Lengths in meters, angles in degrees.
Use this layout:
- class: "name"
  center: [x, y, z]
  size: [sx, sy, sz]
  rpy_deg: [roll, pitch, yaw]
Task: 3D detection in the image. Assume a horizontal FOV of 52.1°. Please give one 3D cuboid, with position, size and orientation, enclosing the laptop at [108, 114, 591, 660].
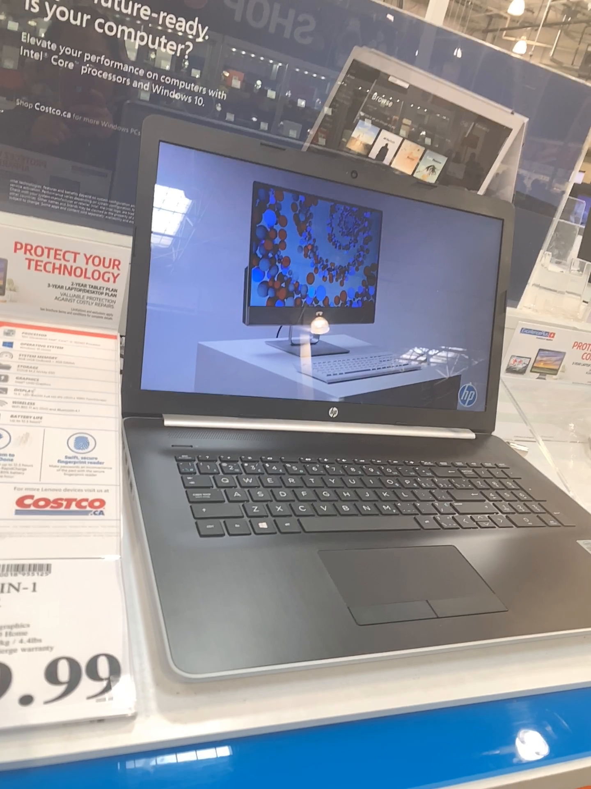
- class: "laptop"
  center: [0.083, -0.044, 0.487]
  size: [0.395, 0.234, 0.371]
  rpy_deg: [4, 23, -24]
